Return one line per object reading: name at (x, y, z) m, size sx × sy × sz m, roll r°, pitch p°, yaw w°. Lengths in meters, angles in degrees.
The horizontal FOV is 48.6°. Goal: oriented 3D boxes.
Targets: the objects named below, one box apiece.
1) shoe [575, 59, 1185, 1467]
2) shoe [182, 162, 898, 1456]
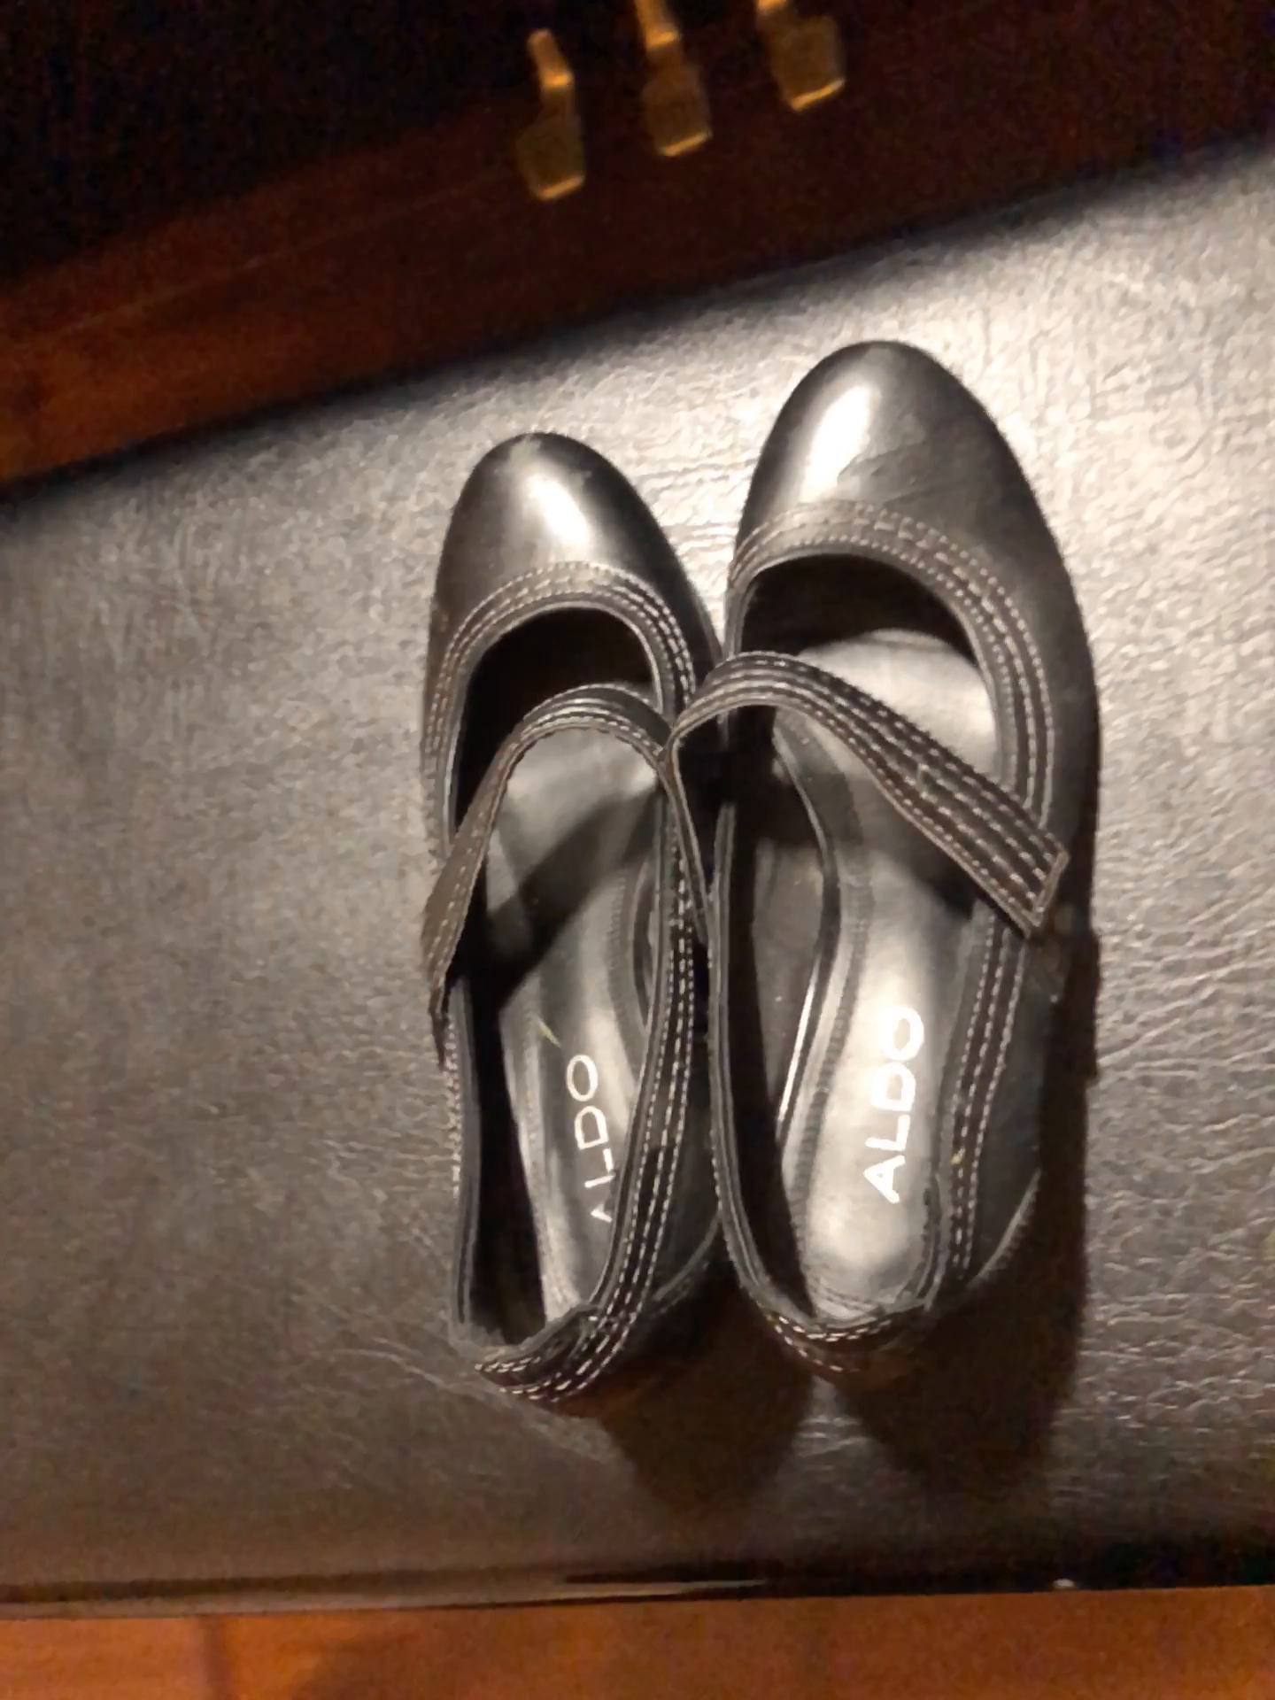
shoe at (0.054, -0.014, 0.303) m, size 0.100 × 0.110 × 0.240 m, roll -3°, pitch 81°, yaw 18°
shoe at (-0.019, -0.005, 0.327) m, size 0.100 × 0.110 × 0.240 m, roll -12°, pitch 78°, yaw 16°
